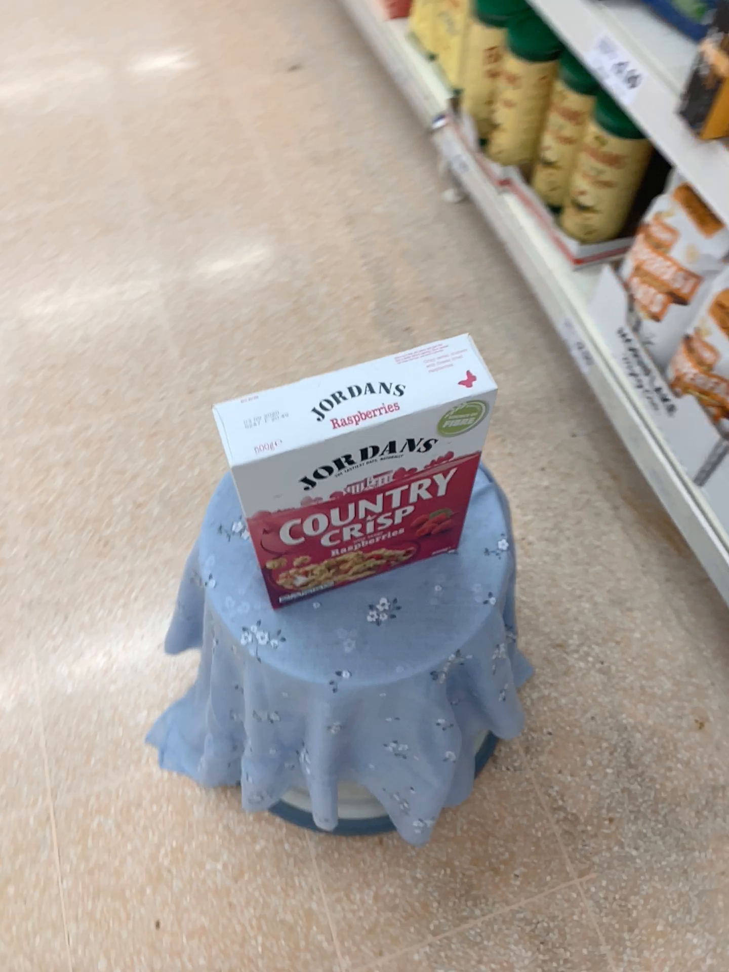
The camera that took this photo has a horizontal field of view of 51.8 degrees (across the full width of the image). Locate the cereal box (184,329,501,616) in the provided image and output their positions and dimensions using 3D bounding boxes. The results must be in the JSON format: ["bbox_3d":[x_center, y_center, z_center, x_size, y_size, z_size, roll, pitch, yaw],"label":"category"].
[{"bbox_3d":[-0.017,0.006,0.613,0.200,0.268,0.060,-15,63,-10],"label":"cereal box"}]
